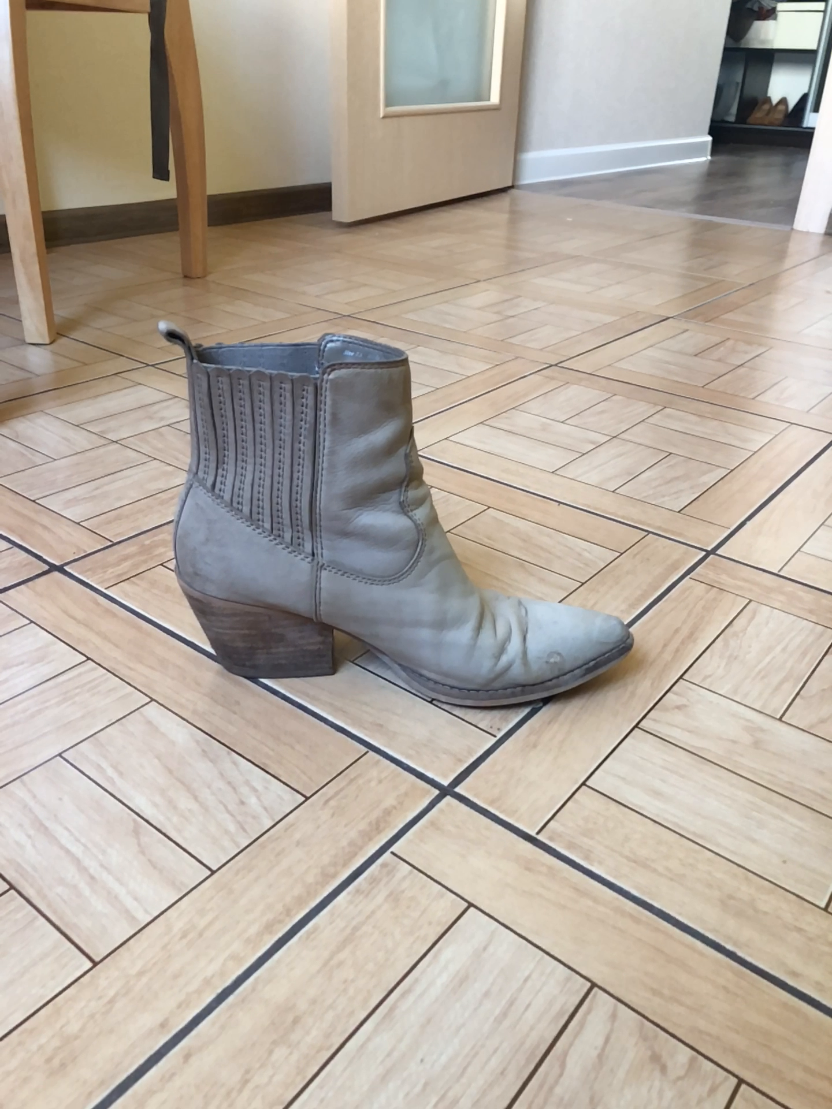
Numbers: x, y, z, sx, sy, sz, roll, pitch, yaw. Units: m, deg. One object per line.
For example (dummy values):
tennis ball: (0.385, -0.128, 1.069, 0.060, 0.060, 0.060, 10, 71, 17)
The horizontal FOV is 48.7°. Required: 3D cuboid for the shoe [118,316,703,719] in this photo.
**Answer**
shoe: (-0.005, -0.019, 0.489, 0.260, 0.179, 0.090, 3, 28, 0)
